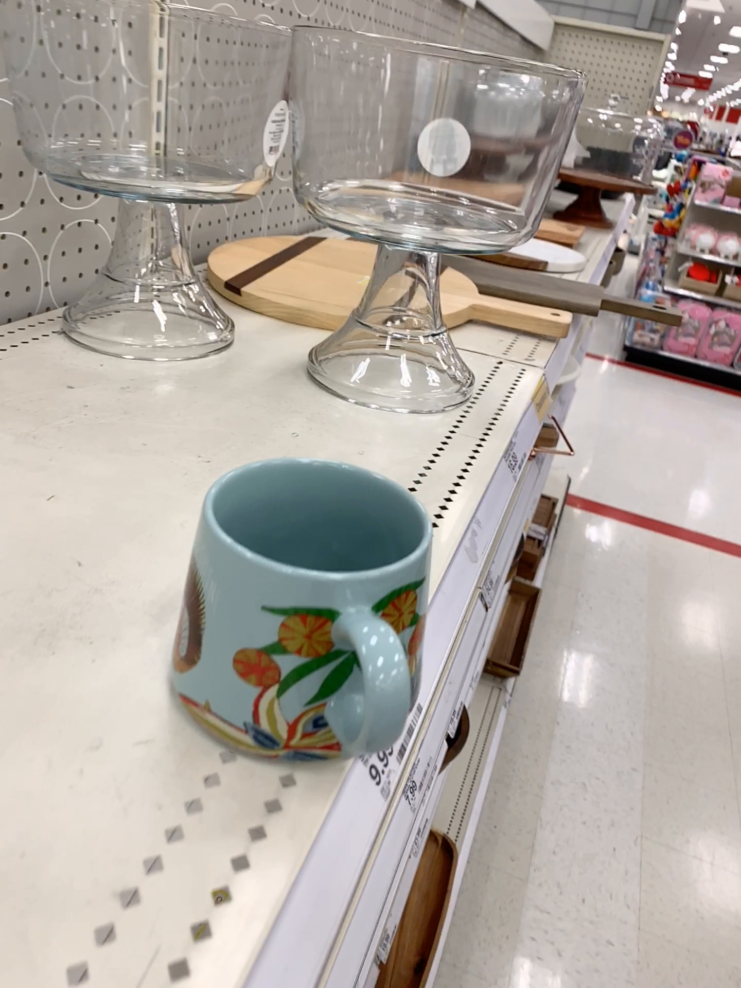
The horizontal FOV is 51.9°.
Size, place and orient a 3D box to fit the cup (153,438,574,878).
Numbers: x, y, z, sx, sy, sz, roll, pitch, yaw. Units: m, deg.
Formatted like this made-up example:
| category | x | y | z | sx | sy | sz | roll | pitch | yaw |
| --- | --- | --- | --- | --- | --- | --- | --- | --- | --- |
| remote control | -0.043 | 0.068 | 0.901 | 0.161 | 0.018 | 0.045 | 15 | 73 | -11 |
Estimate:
| category | x | y | z | sx | sy | sz | roll | pitch | yaw |
| --- | --- | --- | --- | --- | --- | --- | --- | --- | --- |
| cup | -0.019 | 0.050 | 0.305 | 0.120 | 0.090 | 0.141 | -1 | 31 | -20 |
